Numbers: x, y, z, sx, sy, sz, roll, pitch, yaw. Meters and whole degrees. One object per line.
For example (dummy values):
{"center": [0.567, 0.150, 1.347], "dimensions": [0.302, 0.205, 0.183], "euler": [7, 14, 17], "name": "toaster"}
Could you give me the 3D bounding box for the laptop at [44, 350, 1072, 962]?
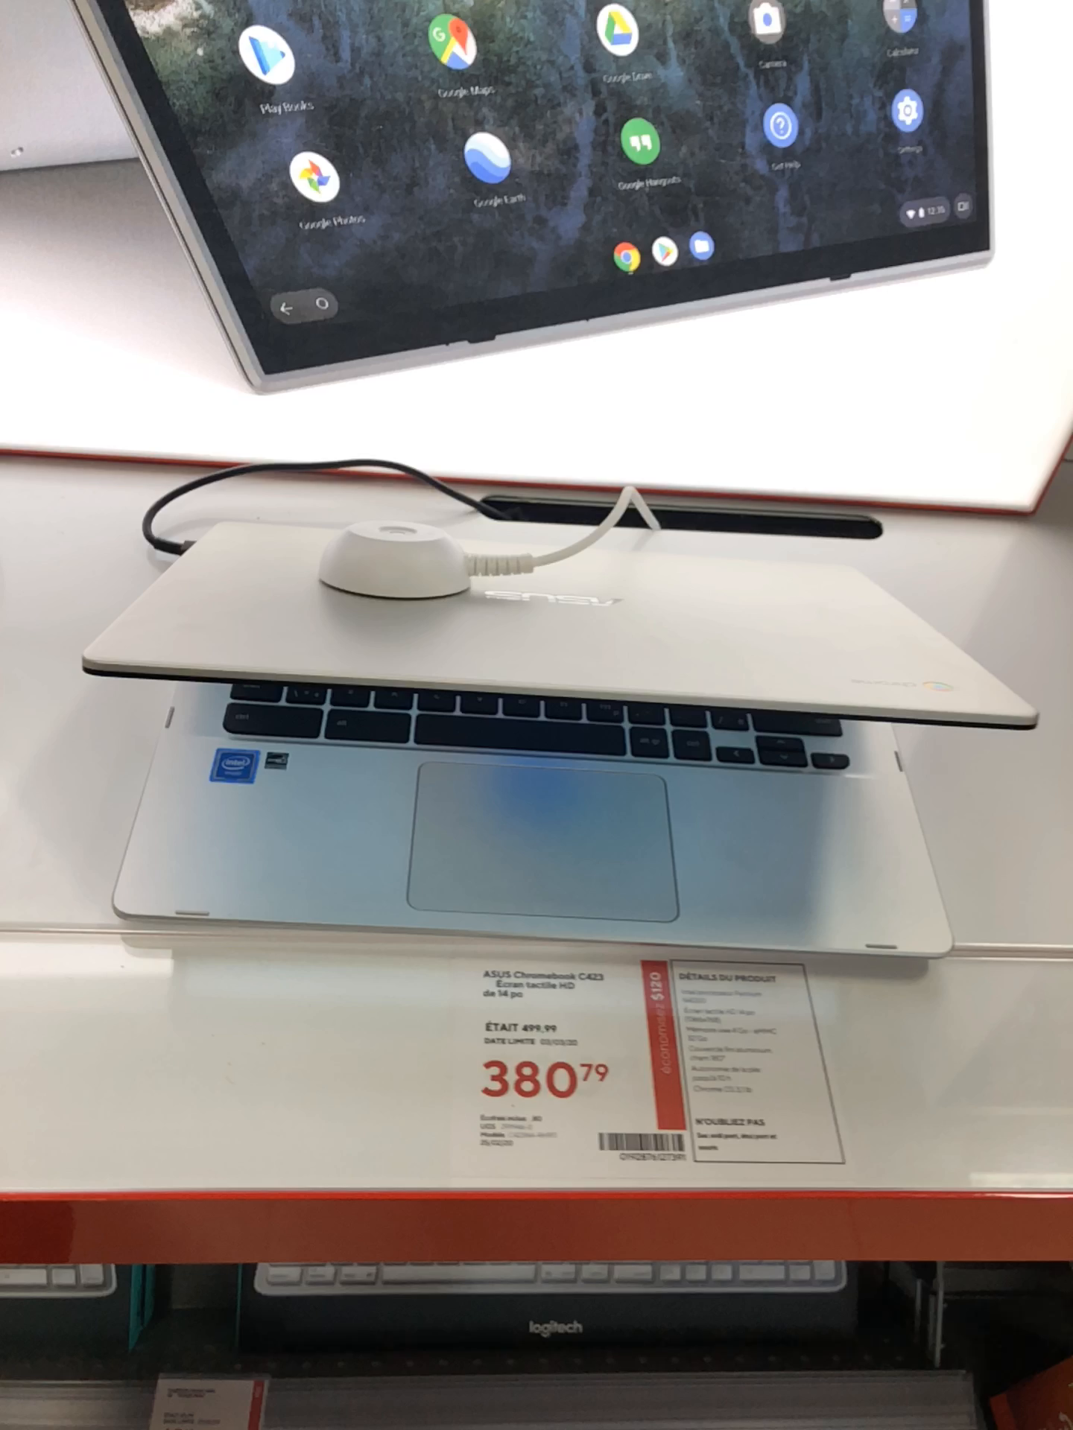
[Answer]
{"center": [0.009, -0.032, 0.474], "dimensions": [0.317, 0.100, 0.226], "euler": [4, 45, -4], "name": "laptop"}
